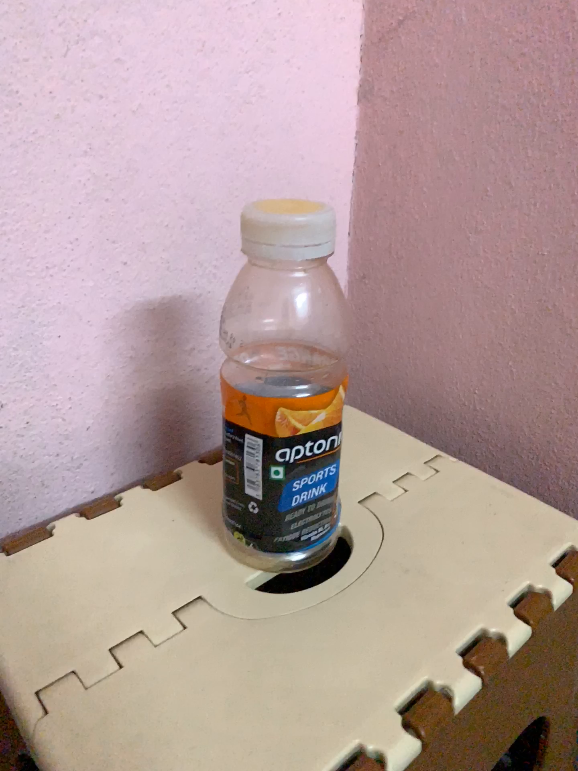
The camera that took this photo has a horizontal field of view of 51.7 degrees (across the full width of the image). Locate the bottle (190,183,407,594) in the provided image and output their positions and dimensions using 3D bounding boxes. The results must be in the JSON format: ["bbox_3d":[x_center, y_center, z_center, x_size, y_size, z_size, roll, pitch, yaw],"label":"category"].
[{"bbox_3d":[0.002,0.001,0.292,0.070,0.179,0.060,-18,32,-34],"label":"bottle"}]
